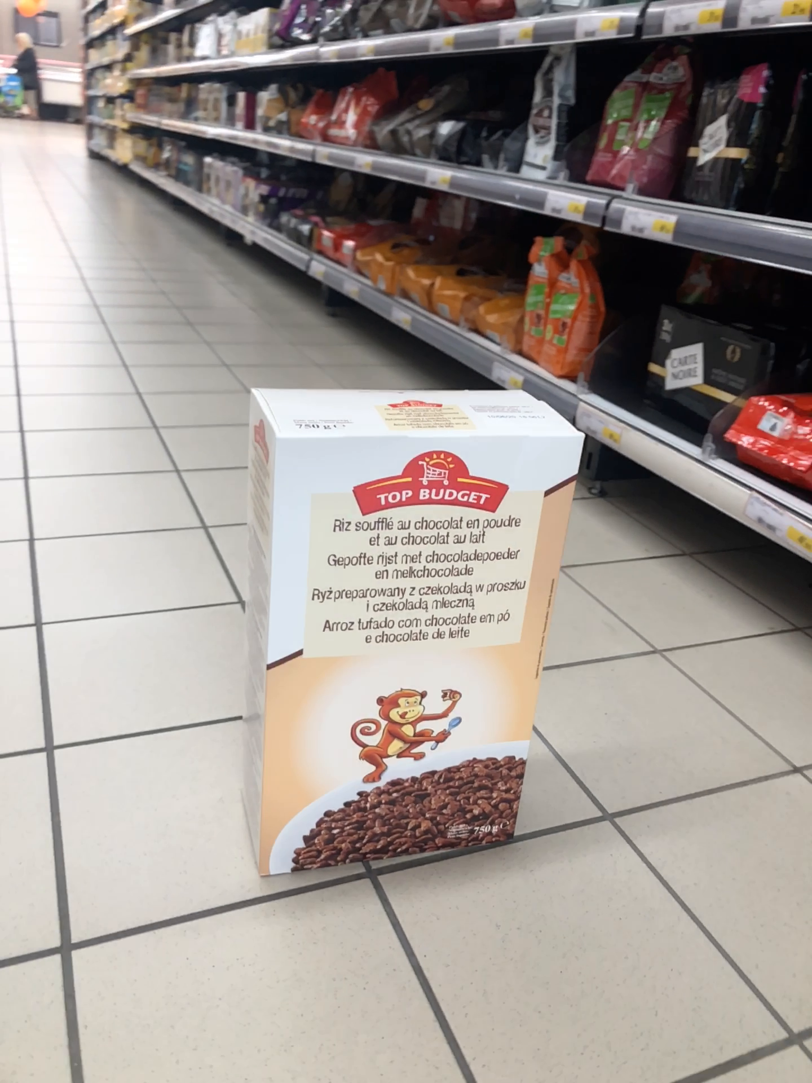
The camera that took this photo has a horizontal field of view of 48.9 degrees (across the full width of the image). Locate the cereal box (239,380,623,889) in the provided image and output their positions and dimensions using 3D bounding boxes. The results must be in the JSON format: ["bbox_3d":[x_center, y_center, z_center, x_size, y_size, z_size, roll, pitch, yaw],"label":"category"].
[{"bbox_3d":[0.000,0.062,0.616,0.210,0.318,0.110,-1,24,-17],"label":"cereal box"}]
